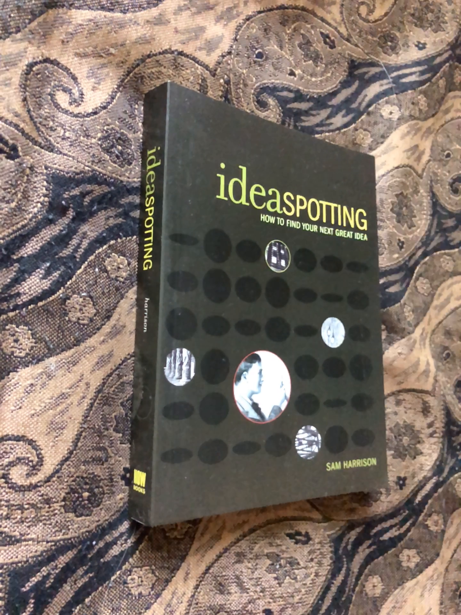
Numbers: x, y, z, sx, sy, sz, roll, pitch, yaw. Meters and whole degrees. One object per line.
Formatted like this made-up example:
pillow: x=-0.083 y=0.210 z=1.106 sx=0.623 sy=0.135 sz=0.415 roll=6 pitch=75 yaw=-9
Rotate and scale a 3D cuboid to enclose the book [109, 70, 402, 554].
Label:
book: x=0.019 y=0.003 z=0.248 sx=0.141 sy=0.040 sz=0.180 roll=5 pitch=82 yaw=-35
